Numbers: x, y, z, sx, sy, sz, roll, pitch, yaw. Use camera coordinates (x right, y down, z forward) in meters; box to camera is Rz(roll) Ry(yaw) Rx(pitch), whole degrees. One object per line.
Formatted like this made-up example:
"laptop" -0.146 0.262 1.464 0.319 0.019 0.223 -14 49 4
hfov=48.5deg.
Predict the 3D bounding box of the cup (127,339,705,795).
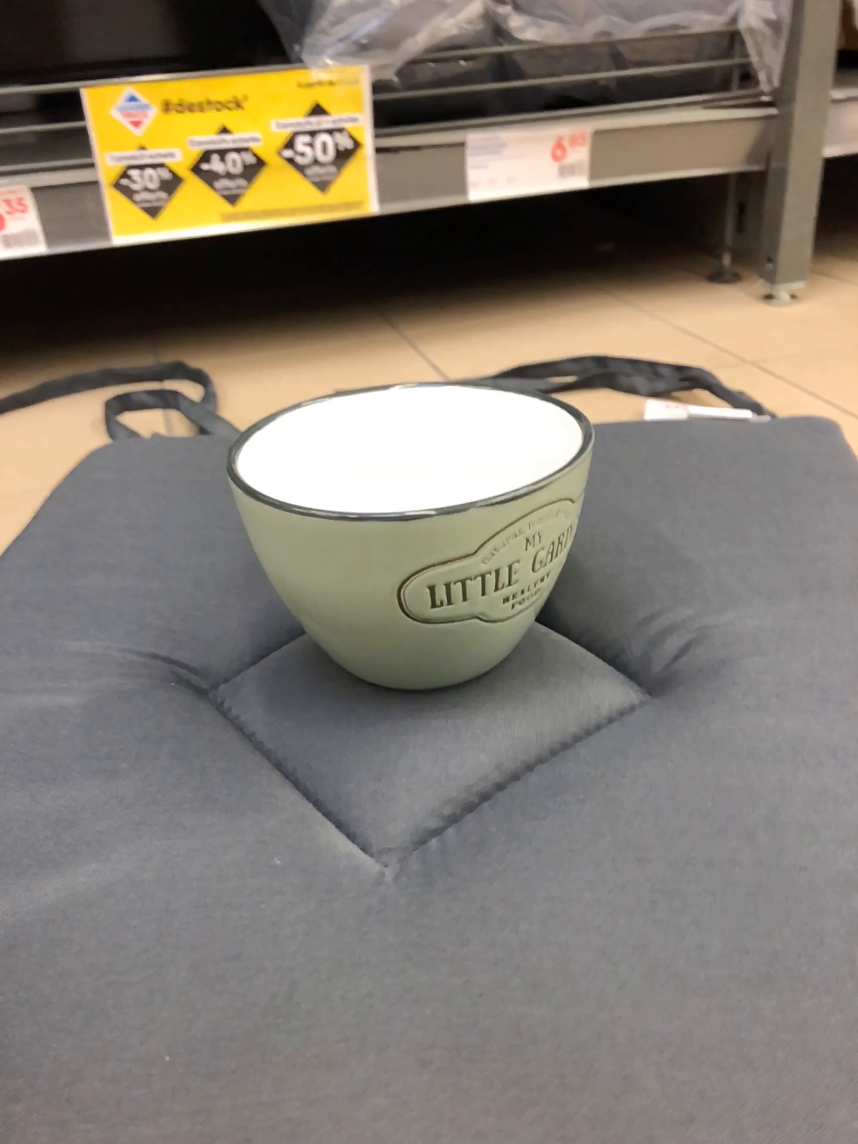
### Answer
"cup" -0.003 -0.016 0.320 0.141 0.070 0.120 -26 36 -32
